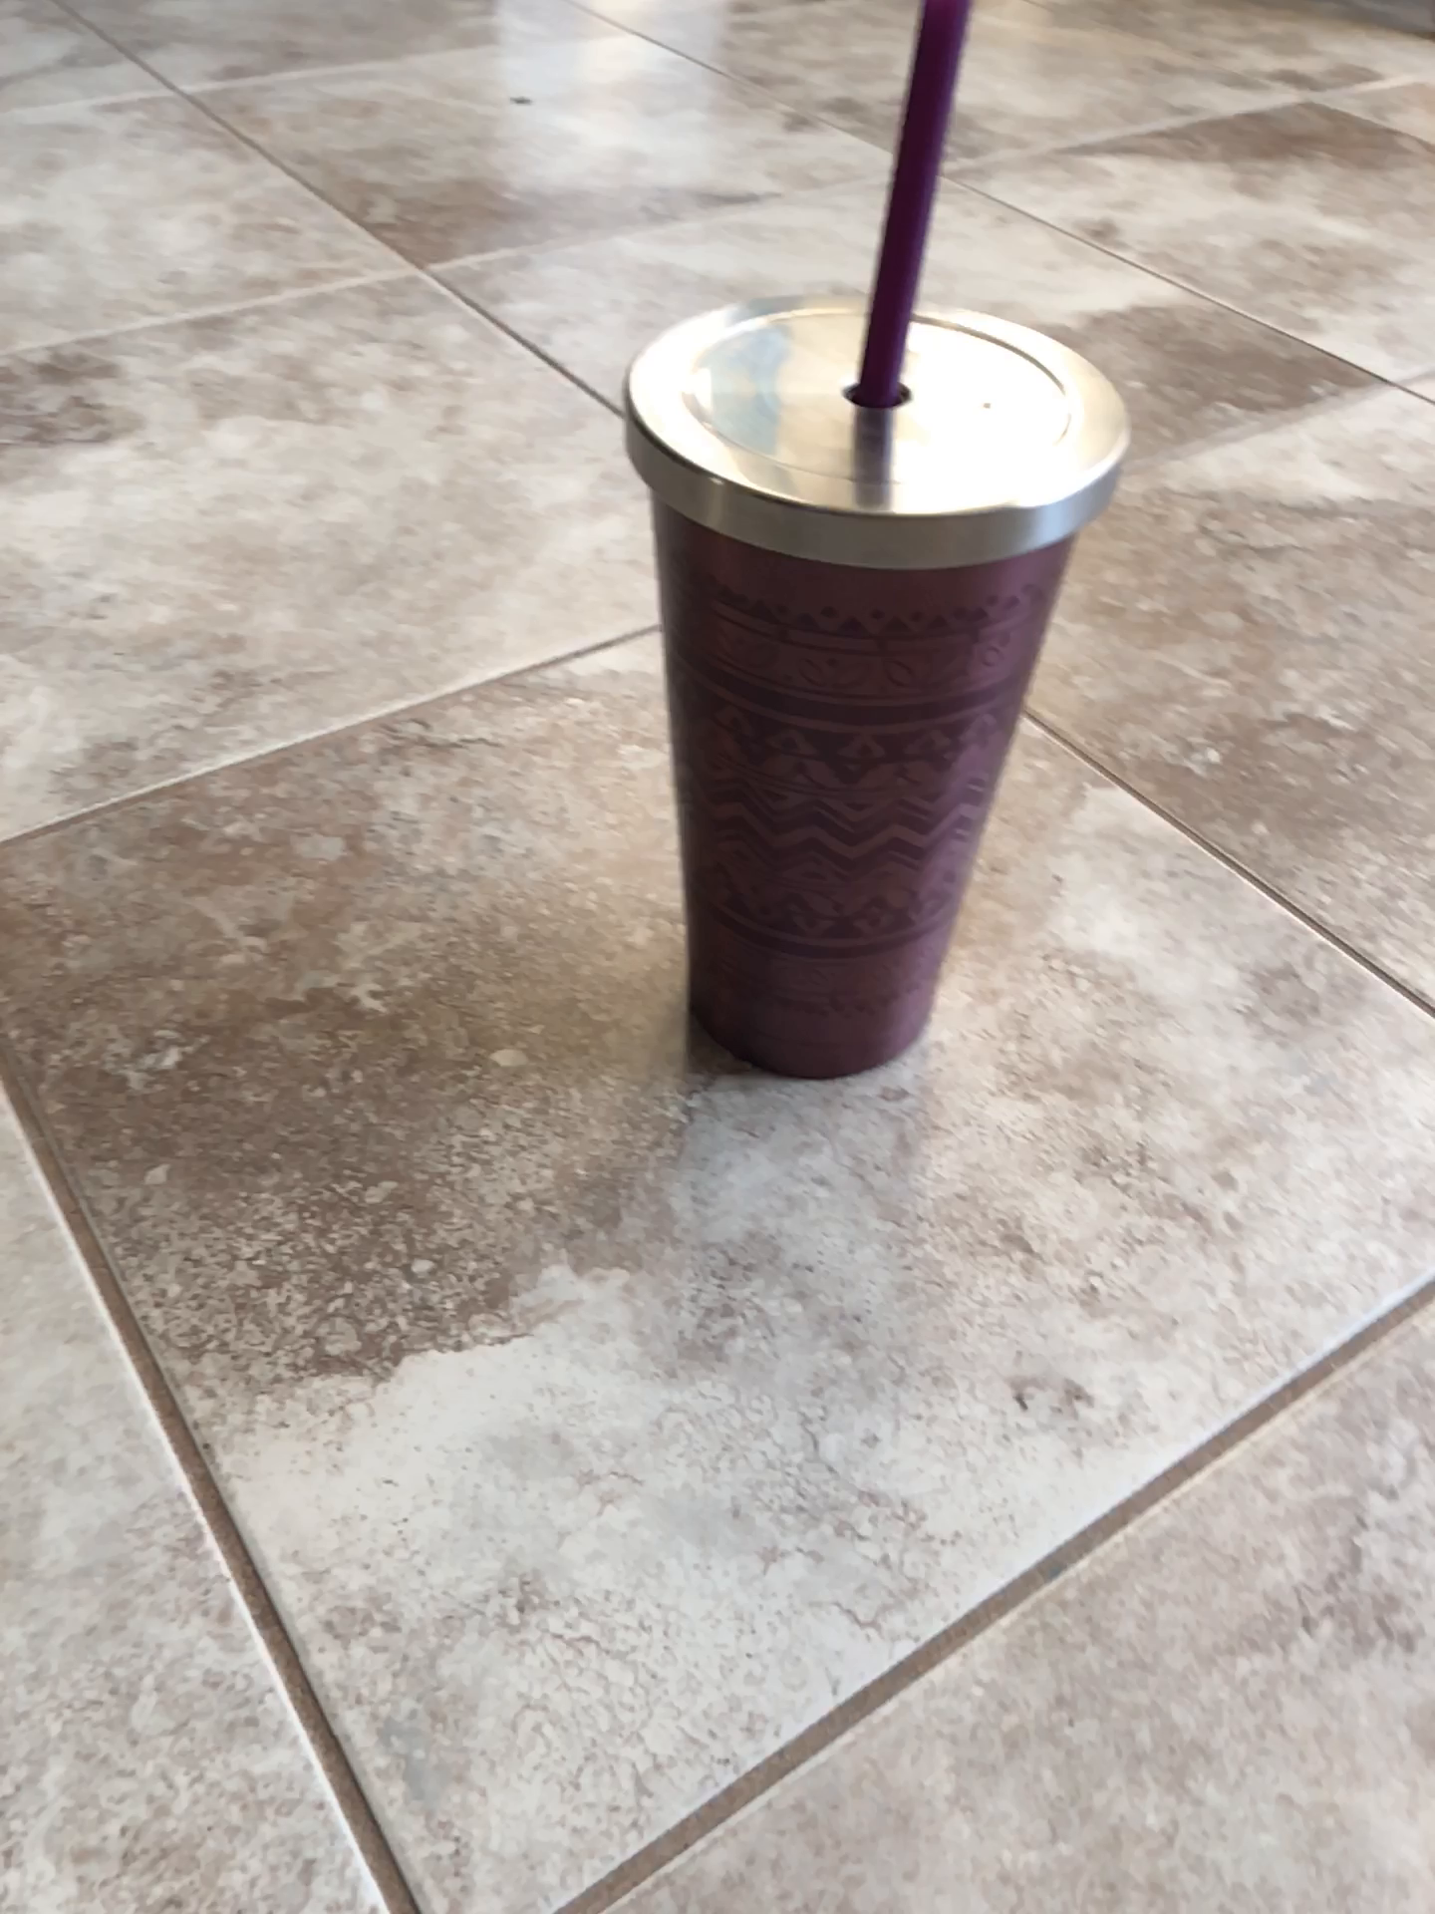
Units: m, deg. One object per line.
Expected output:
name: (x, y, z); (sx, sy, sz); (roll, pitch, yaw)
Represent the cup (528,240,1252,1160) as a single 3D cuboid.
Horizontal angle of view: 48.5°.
cup: (0.033, -0.062, 0.387); (0.111, 0.165, 0.102); (2, 43, -2)
